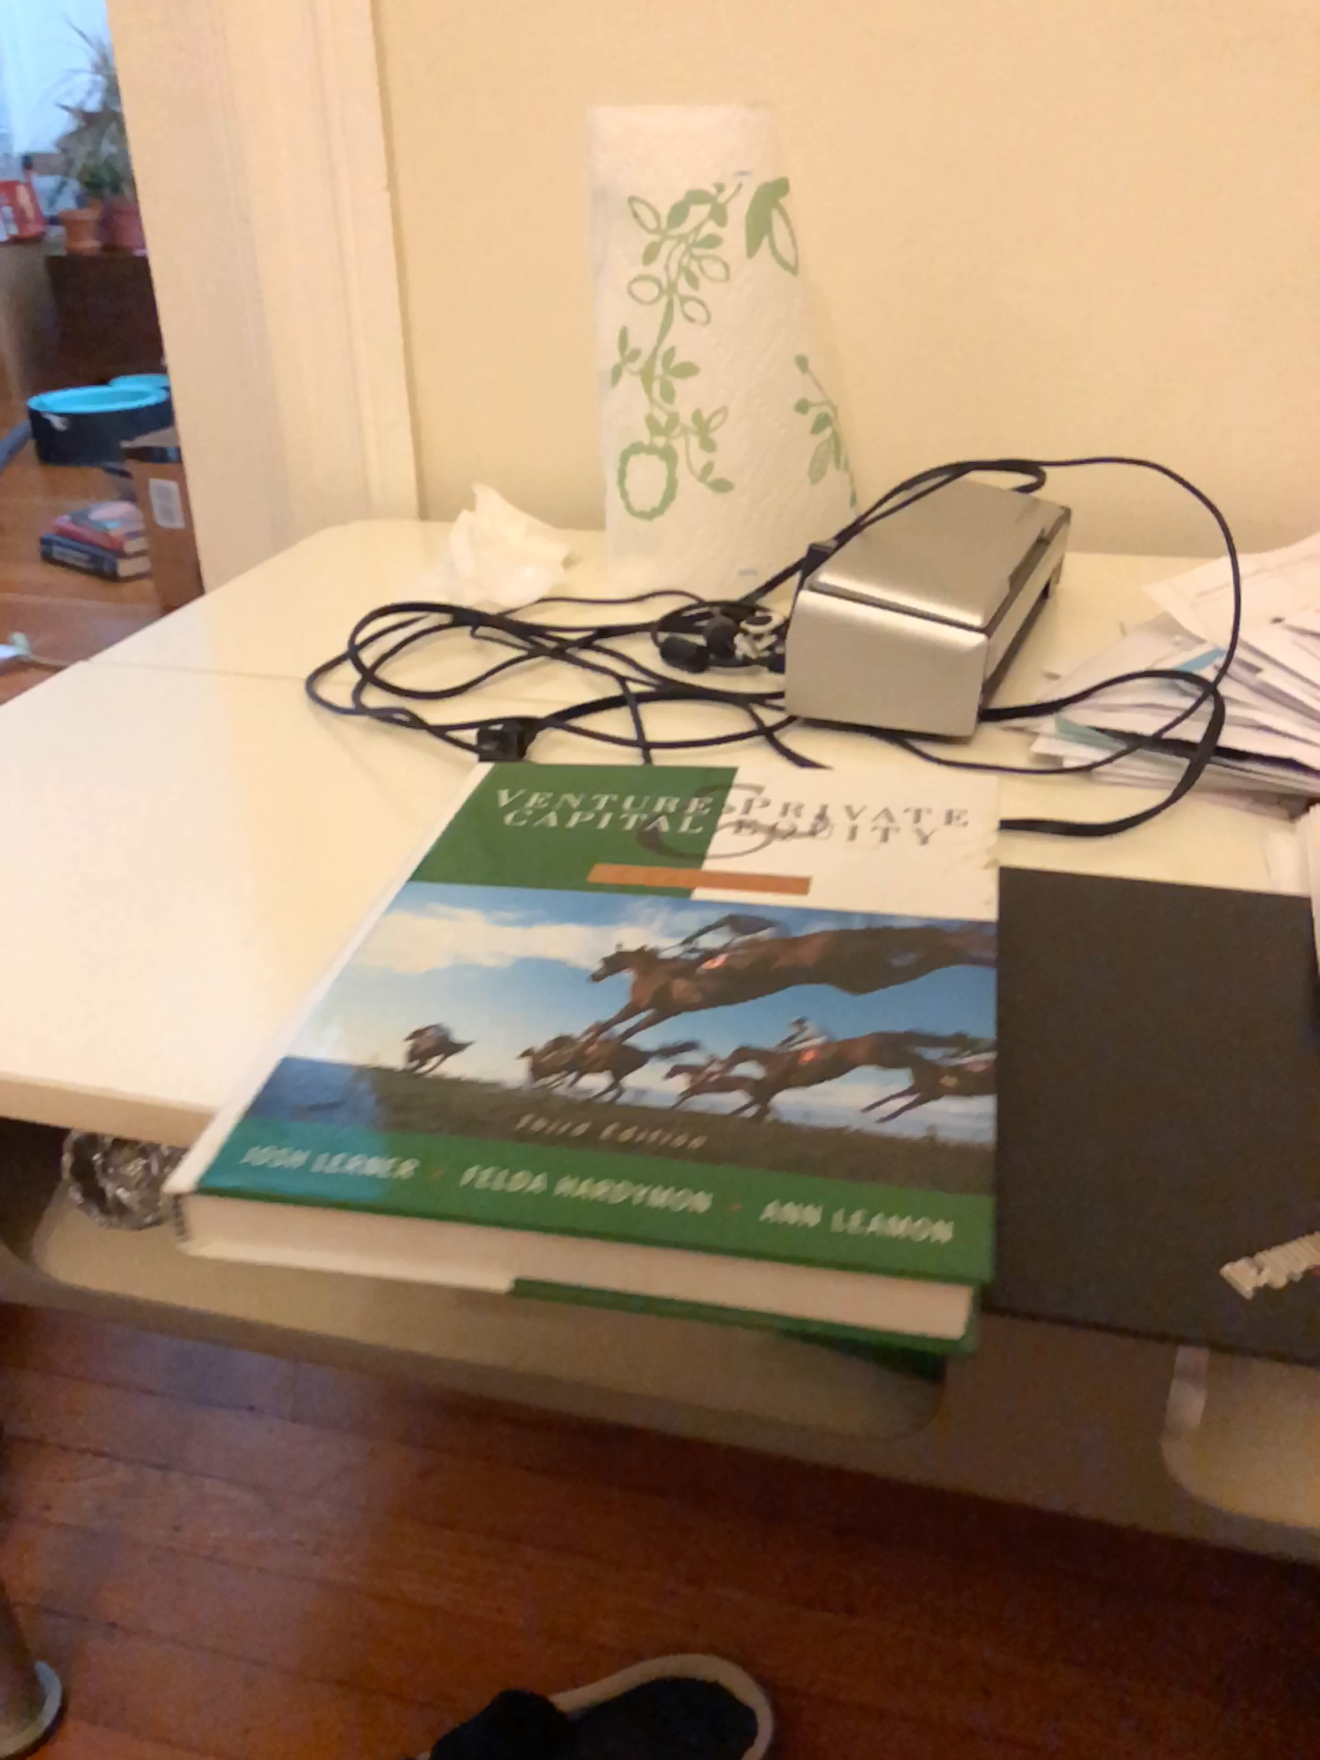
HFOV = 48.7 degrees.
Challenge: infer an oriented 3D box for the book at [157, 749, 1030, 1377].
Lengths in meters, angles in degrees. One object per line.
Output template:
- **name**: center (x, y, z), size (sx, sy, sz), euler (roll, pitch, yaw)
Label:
- **book**: center (0.005, 0.032, 0.479), size (0.220, 0.030, 0.272), euler (5, 30, 11)
